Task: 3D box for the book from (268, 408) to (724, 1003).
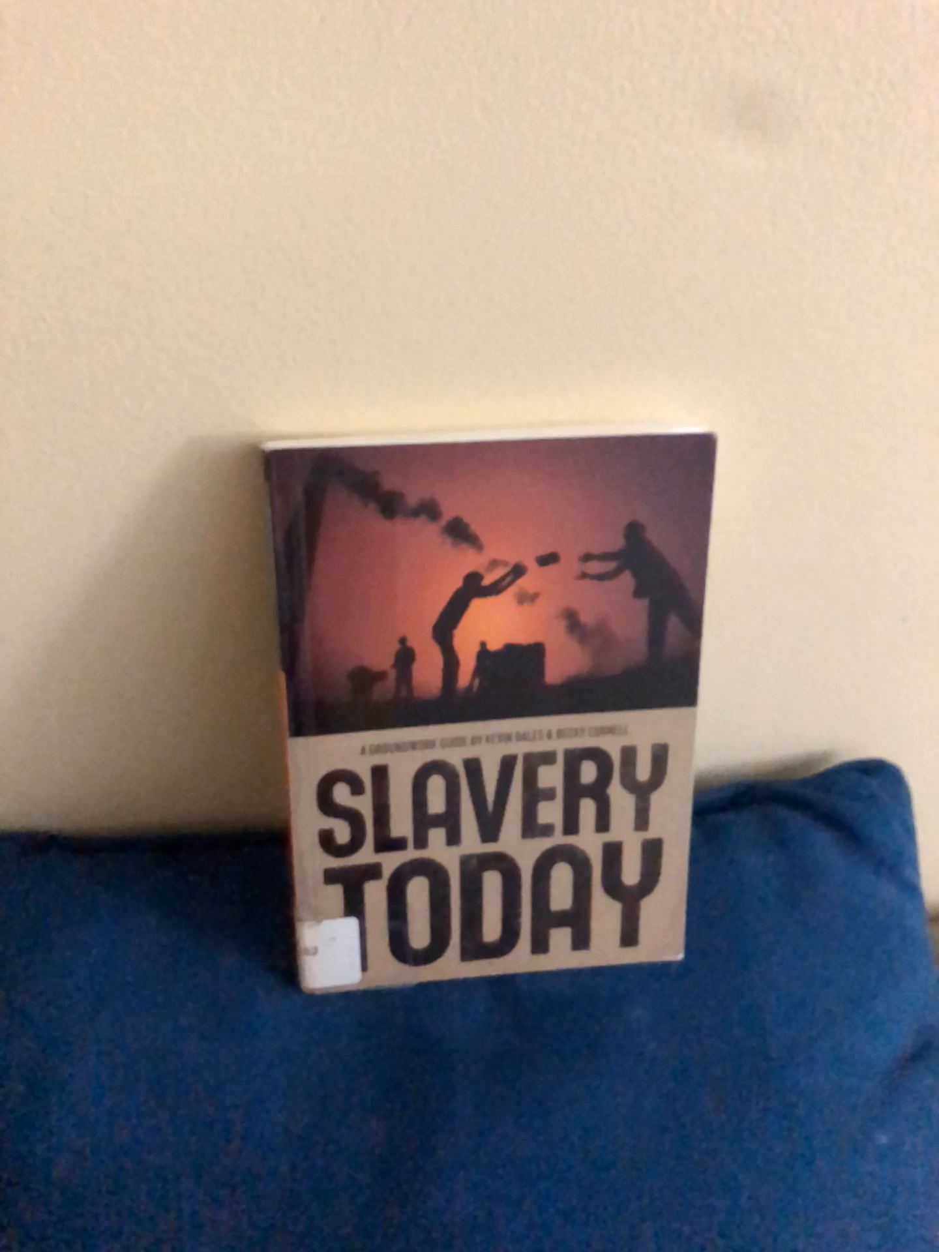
[{"bbox_3d":[0.007,0.027,0.331,0.127,0.182,0.028,-3,18,-9],"label":"book"}]
